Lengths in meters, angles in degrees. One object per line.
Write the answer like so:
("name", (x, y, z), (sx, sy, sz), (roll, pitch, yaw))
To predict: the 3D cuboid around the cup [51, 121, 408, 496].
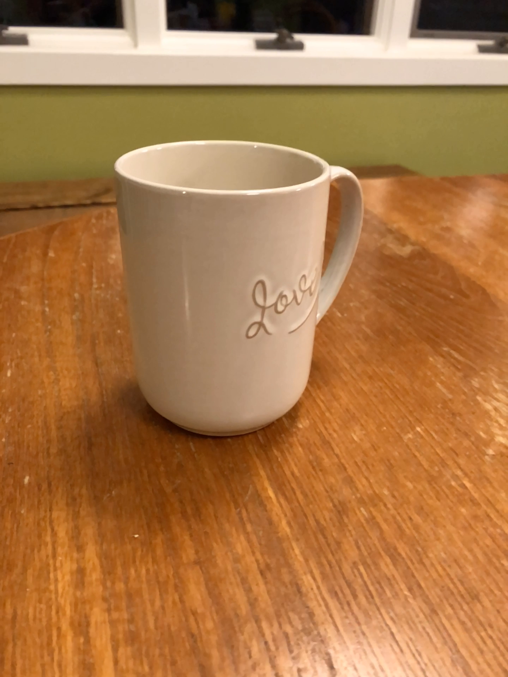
("cup", (-0.005, -0.028, 0.280), (0.092, 0.124, 0.135), (23, 36, 31))
